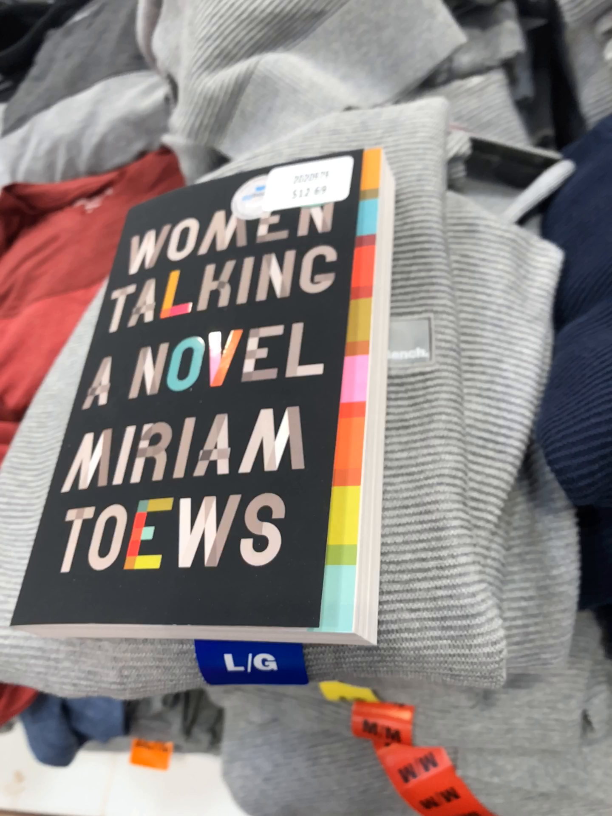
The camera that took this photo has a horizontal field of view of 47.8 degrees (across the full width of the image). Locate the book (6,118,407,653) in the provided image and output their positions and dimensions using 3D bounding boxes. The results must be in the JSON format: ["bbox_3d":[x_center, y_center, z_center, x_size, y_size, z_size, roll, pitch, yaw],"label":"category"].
[{"bbox_3d":[-0.030,-0.016,0.274,0.135,0.020,0.211,-8,59,24],"label":"book"}]
